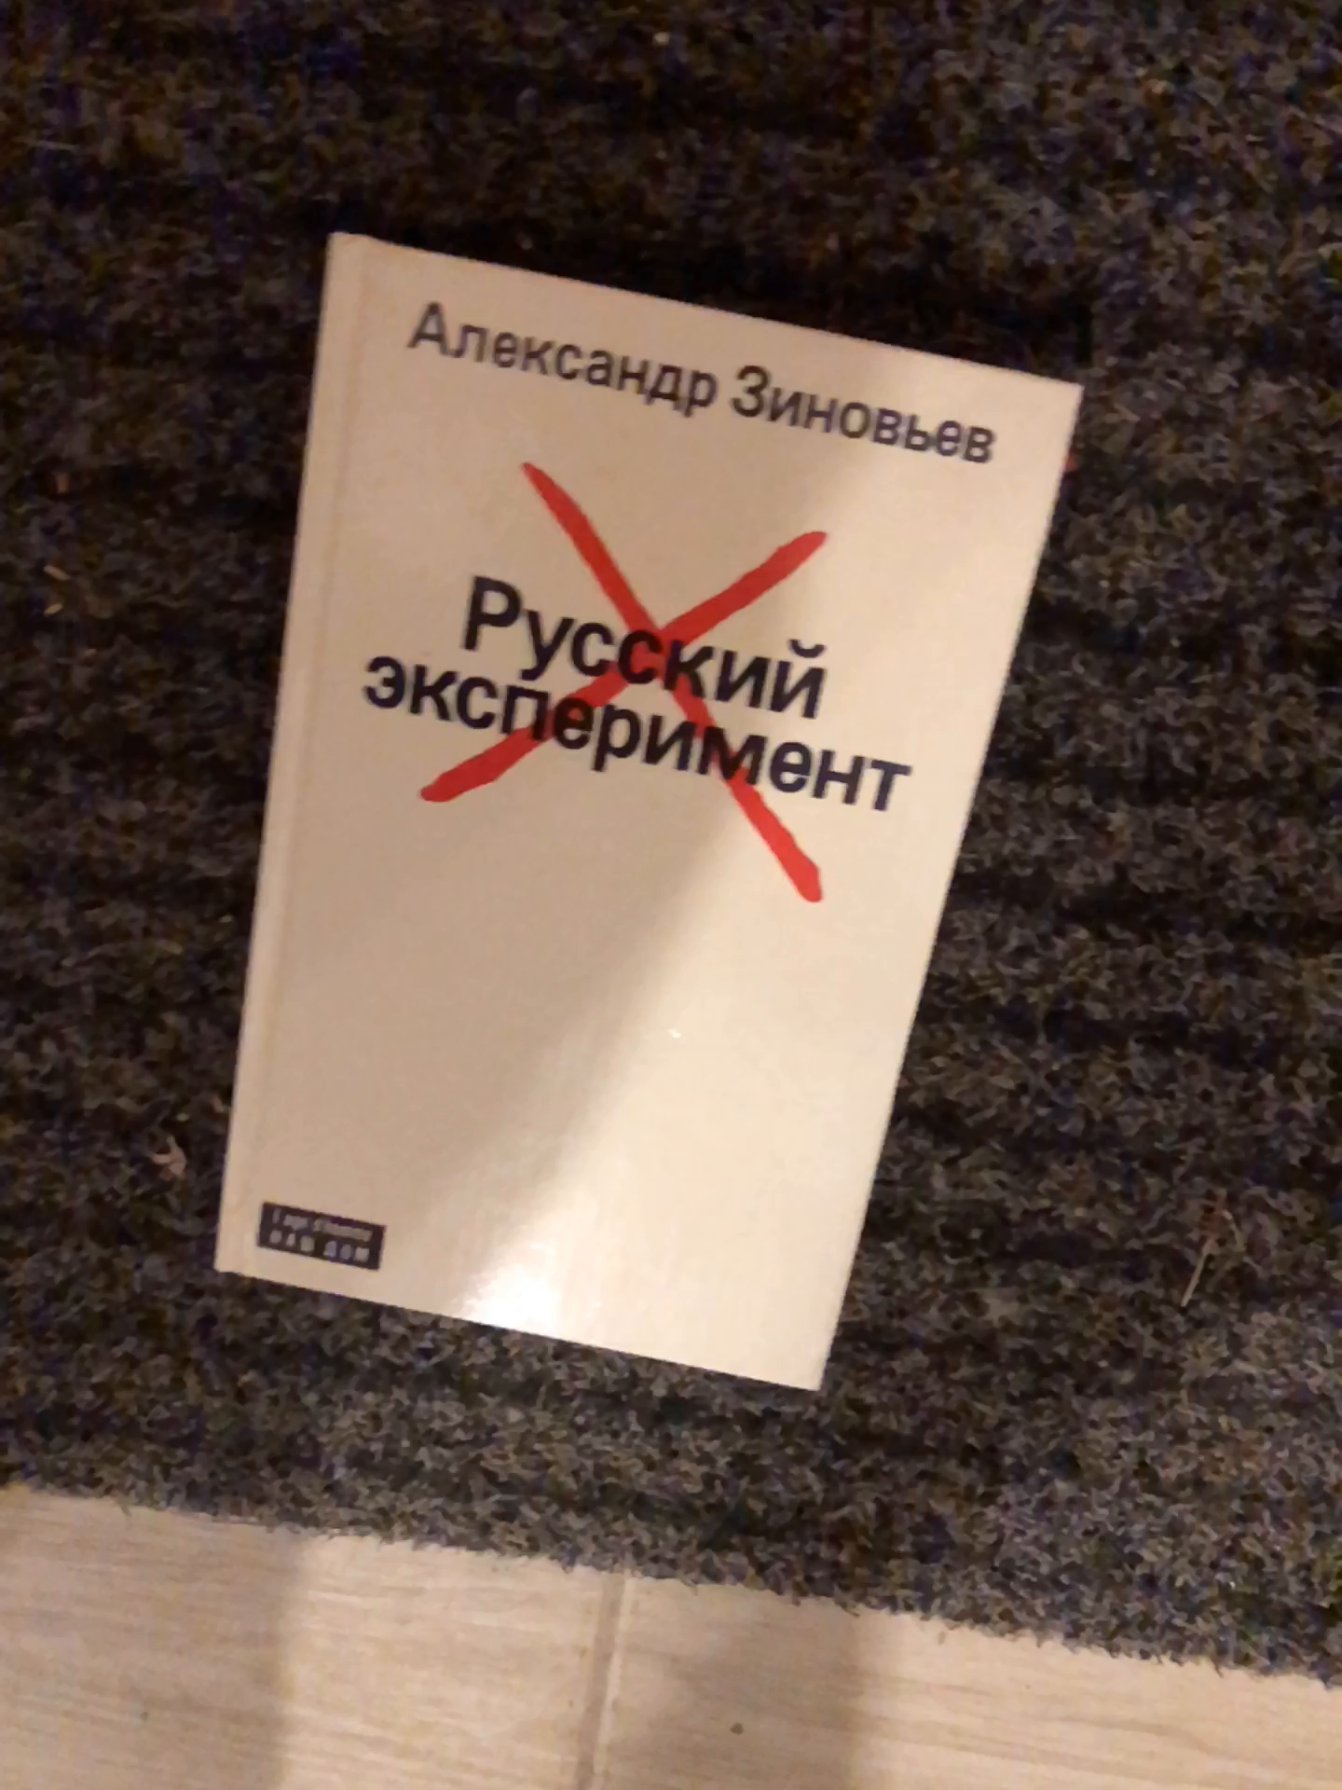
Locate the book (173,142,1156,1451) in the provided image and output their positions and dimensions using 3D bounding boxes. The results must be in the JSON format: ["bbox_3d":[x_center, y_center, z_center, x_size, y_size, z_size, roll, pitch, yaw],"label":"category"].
[{"bbox_3d":[-0.009,-0.009,0.253,0.120,0.040,0.190,12,108,0],"label":"book"}]
